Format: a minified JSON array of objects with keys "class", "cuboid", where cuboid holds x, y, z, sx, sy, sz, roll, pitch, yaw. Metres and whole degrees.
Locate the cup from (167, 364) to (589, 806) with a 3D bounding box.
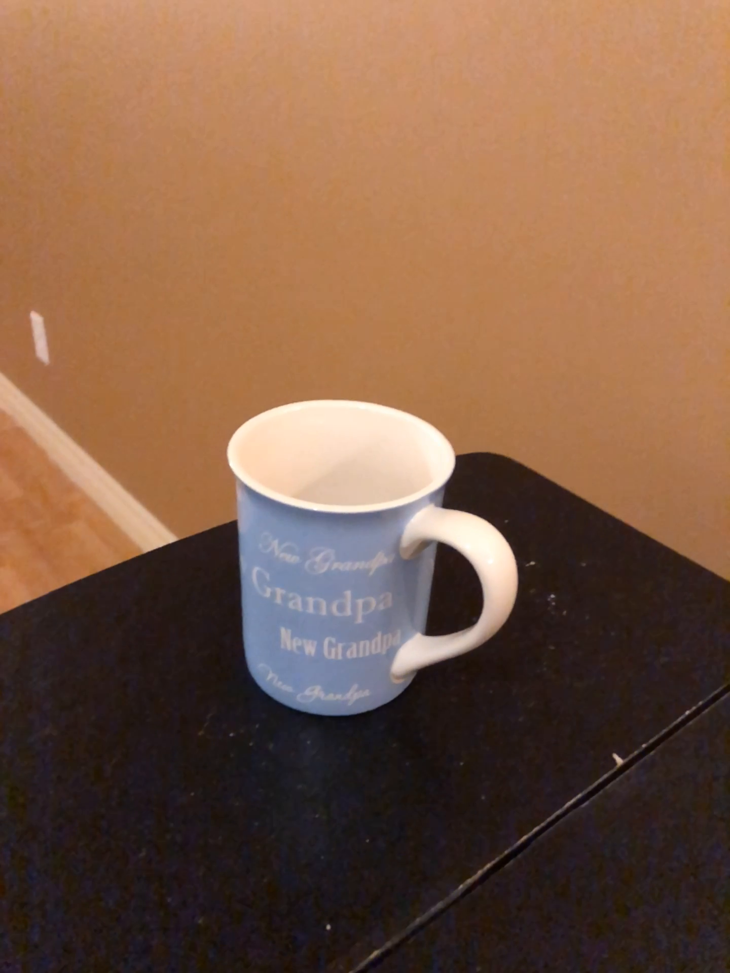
[{"class":"cup","cuboid":[0.004,0.031,0.339,0.130,0.109,0.100,21,35,26]}]
